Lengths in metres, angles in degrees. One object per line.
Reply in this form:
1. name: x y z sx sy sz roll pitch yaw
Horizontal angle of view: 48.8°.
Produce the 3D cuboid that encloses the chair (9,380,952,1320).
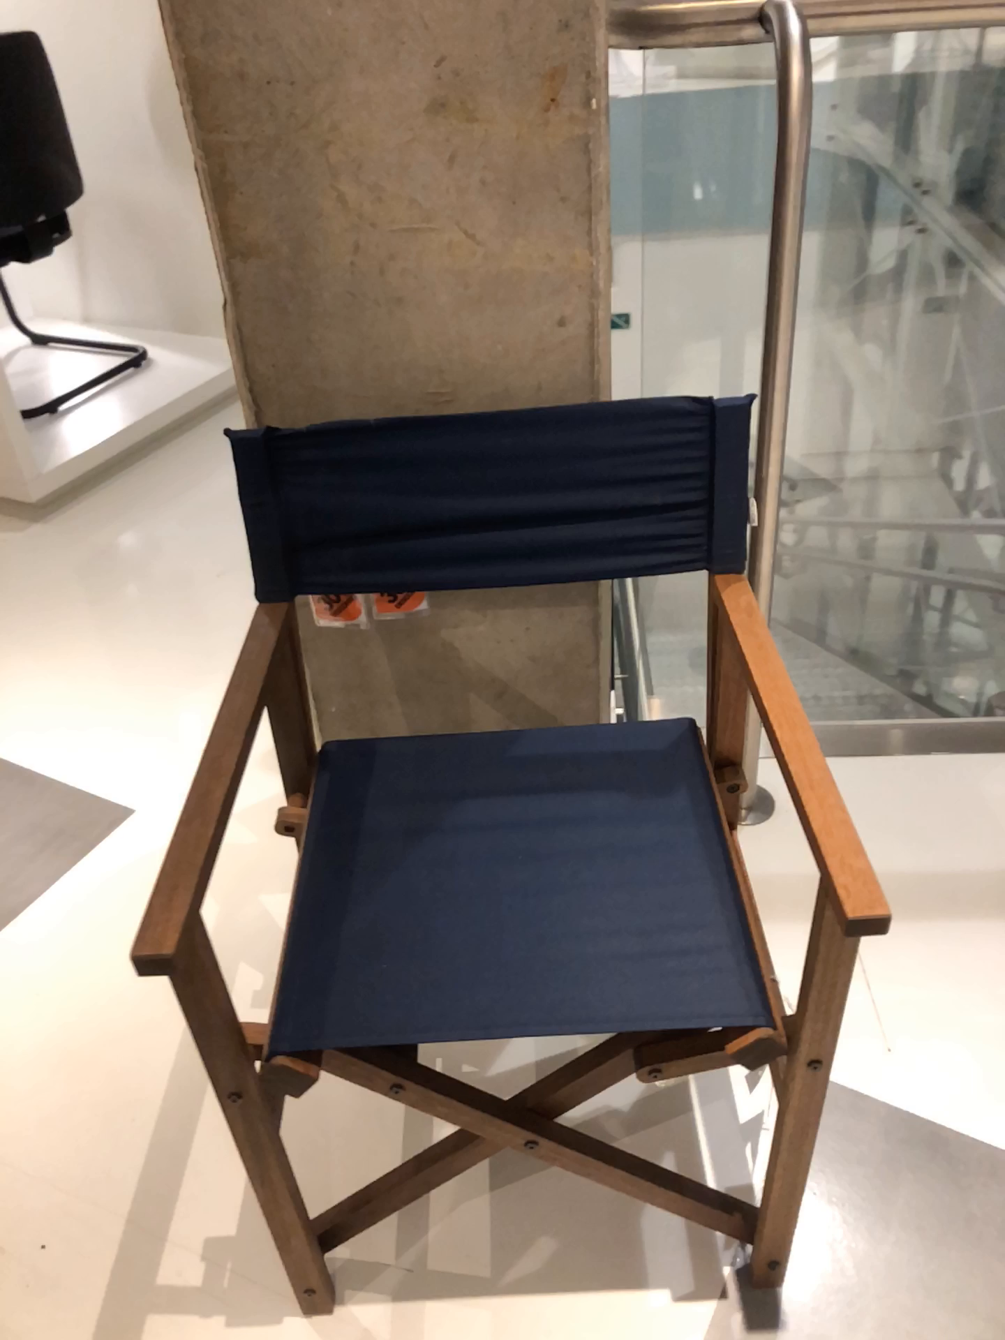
1. chair: 0.011 0.195 1.108 0.580 0.774 0.504 -3 36 3
